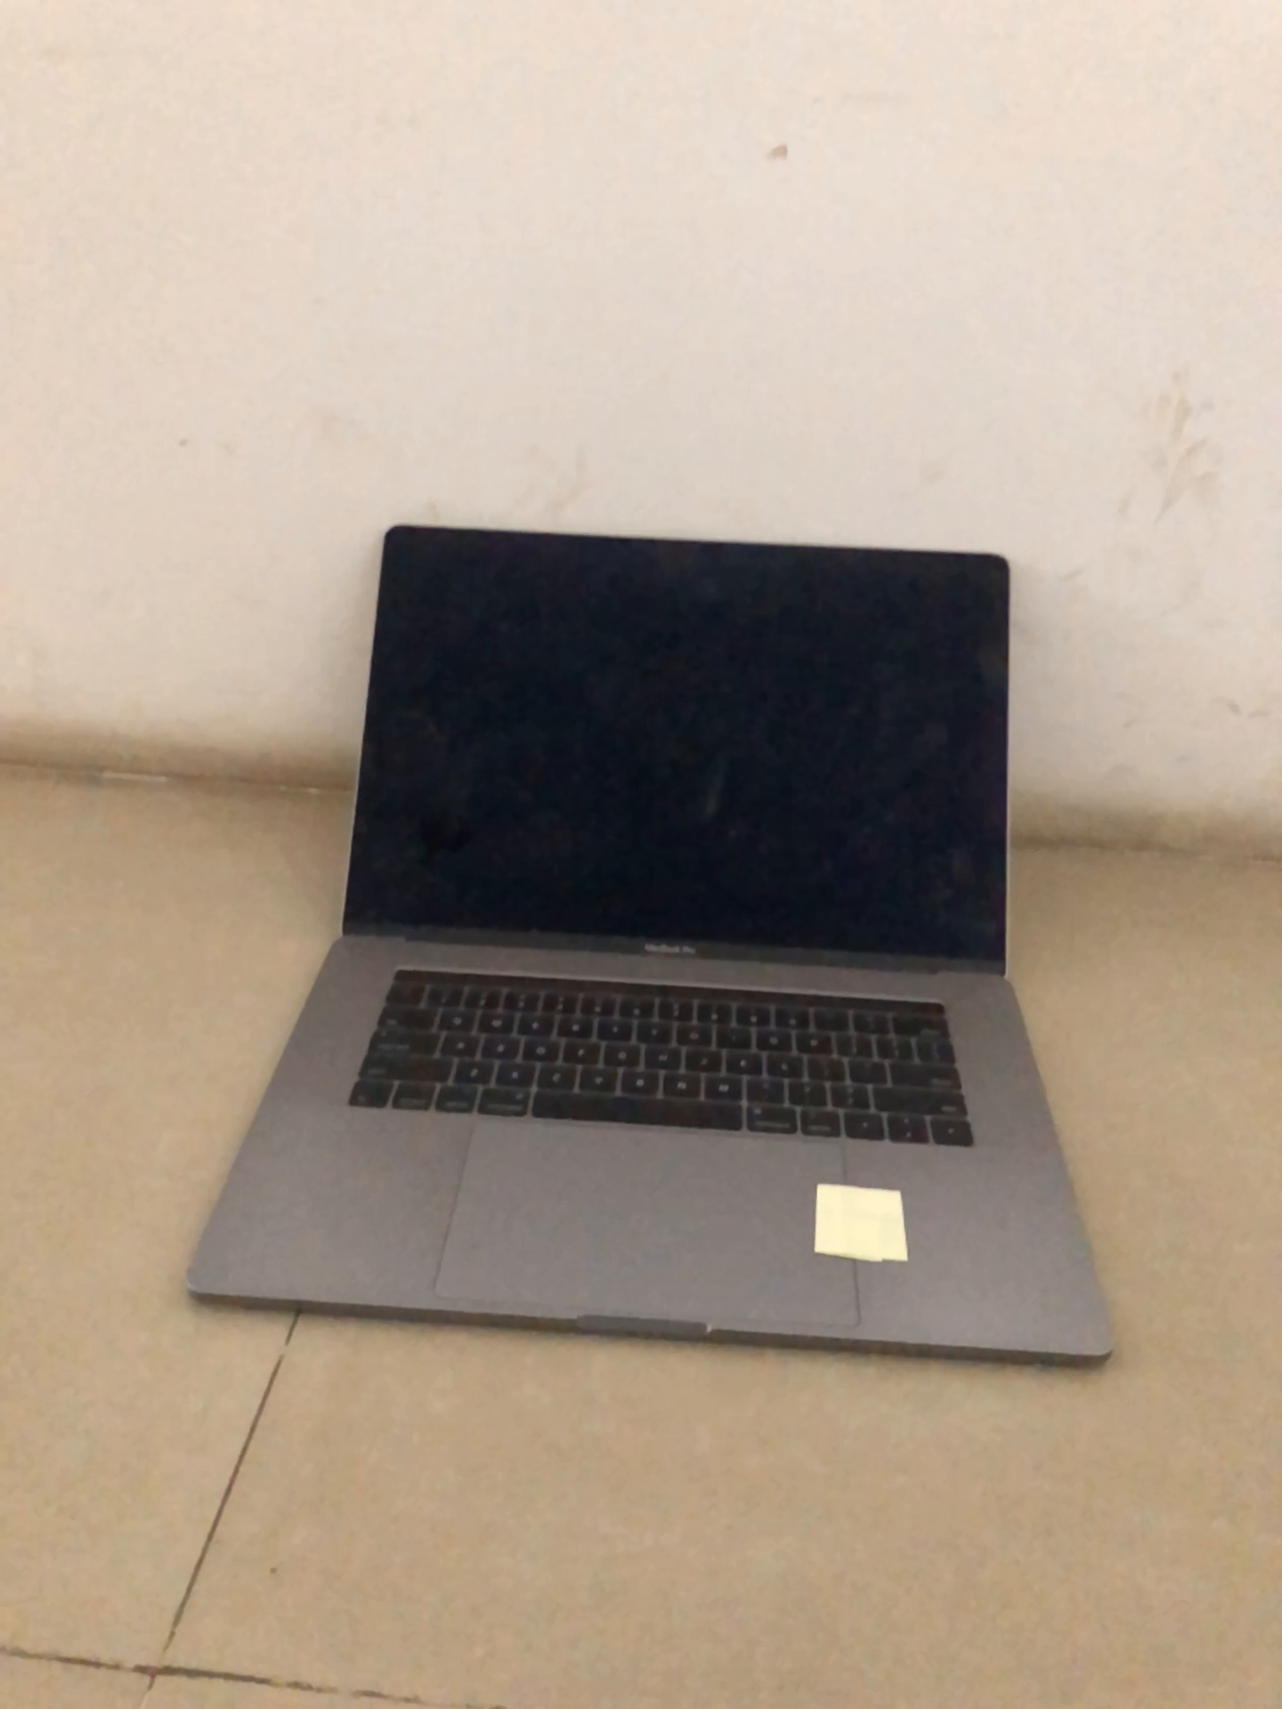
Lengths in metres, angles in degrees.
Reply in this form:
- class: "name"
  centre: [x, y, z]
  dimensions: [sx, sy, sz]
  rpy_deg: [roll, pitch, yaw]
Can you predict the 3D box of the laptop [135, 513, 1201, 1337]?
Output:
- class: "laptop"
  centre: [0.013, -0.006, 0.638]
  dimensions: [0.329, 0.162, 0.382]
  rpy_deg: [3, 31, 2]
